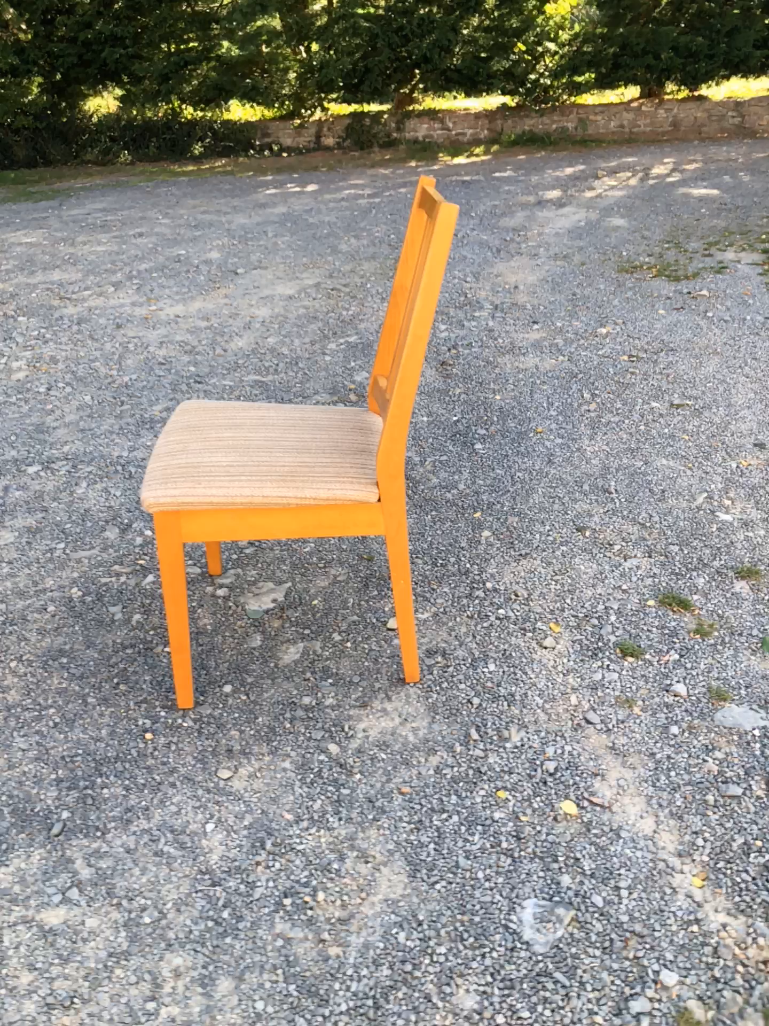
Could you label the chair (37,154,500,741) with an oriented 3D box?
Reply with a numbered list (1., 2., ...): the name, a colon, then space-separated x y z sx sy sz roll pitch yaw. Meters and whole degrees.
1. chair: -0.140 -0.142 1.549 0.590 0.845 0.603 -6 30 -2
